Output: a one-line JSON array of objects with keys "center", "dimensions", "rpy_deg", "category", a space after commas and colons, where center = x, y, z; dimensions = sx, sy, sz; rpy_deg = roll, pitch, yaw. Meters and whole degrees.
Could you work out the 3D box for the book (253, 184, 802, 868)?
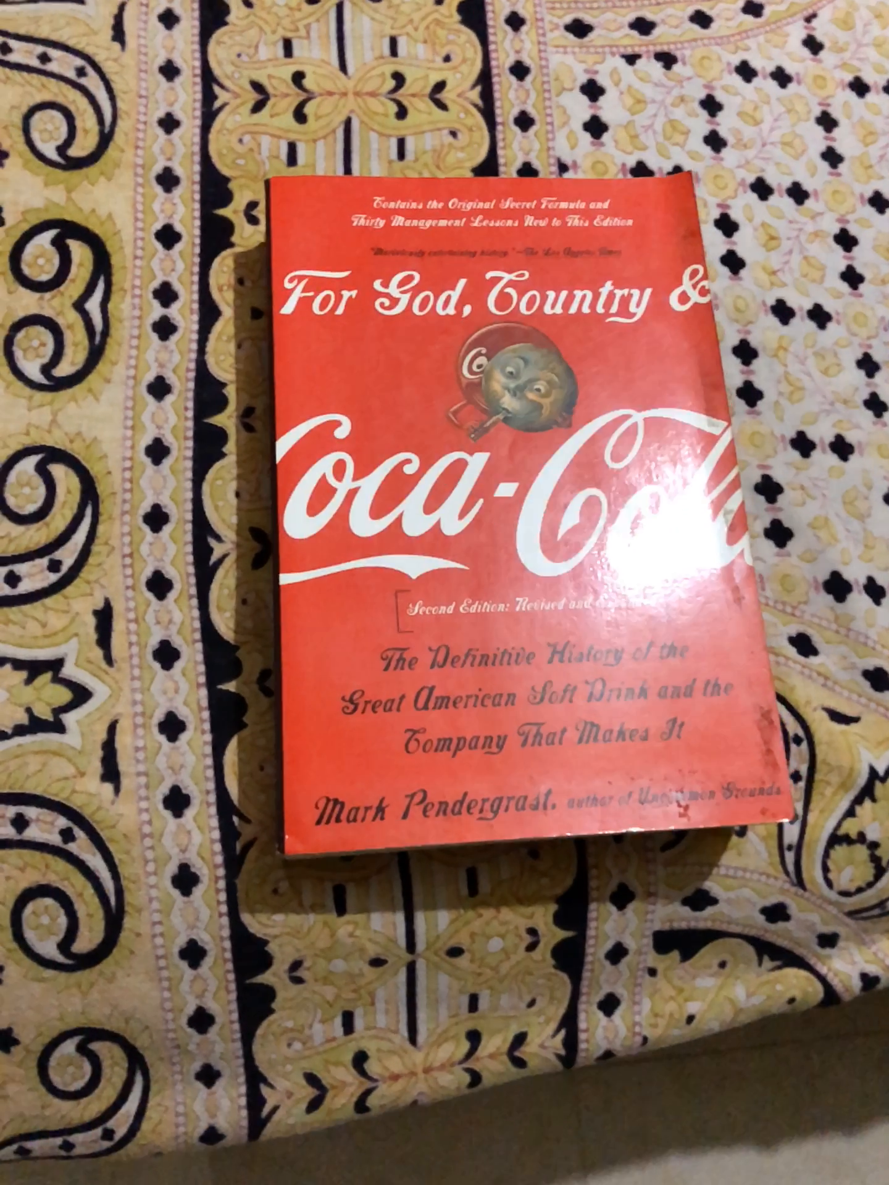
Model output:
[{"center": [0.019, -0.029, 0.347], "dimensions": [0.160, 0.050, 0.230], "rpy_deg": [-2, 74, -6], "category": "book"}]
